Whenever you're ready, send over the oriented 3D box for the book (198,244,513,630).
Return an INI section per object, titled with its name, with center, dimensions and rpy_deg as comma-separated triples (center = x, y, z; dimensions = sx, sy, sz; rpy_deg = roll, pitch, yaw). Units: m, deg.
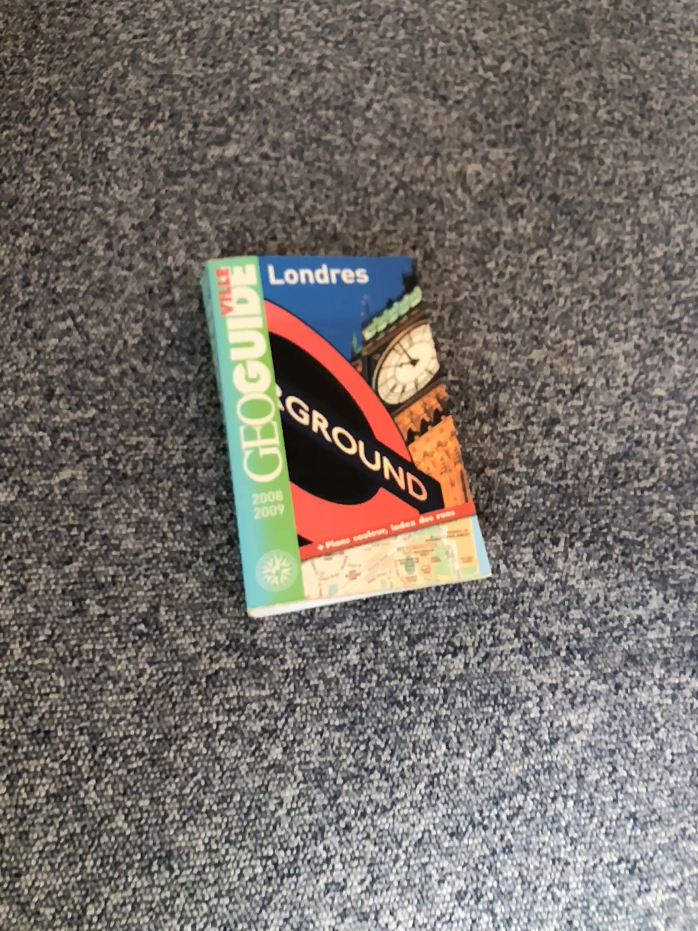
[book]
center = -0.003, -0.025, 0.413
dimensions = 0.130, 0.030, 0.200
rpy_deg = -5, 68, -14
